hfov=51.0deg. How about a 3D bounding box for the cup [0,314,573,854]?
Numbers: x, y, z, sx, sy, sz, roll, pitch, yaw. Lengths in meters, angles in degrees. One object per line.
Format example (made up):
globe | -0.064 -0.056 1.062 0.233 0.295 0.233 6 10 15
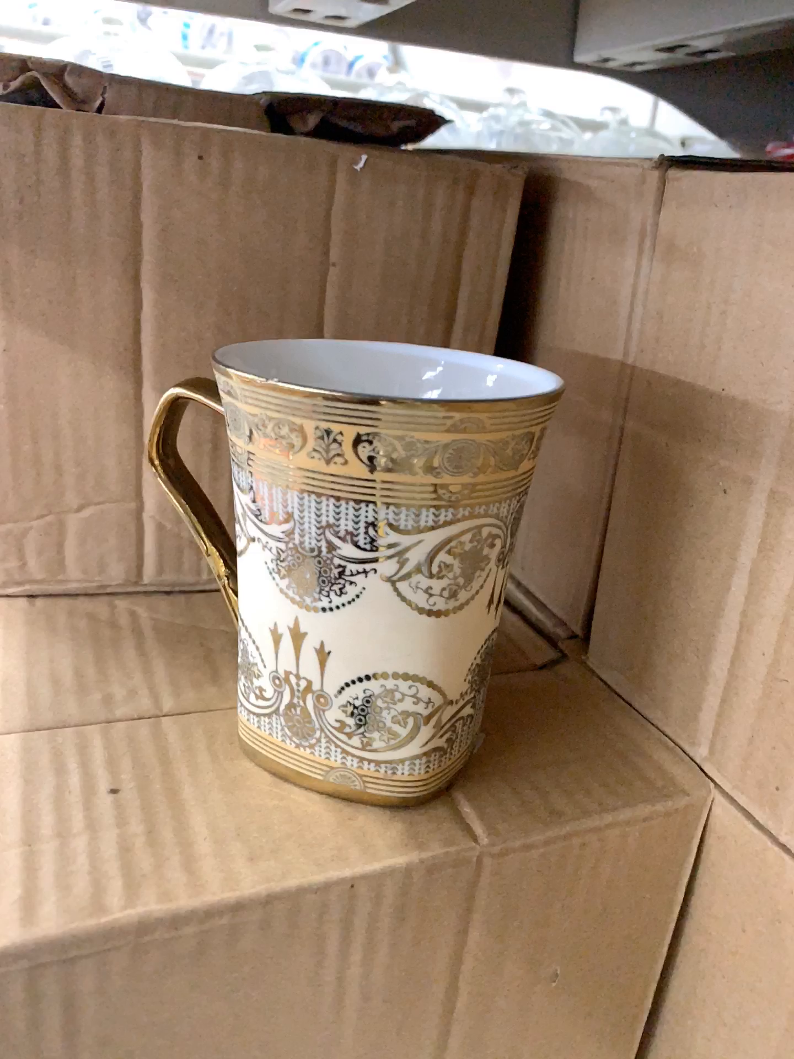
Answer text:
cup | -0.025 0.001 0.209 0.110 0.089 0.080 12 22 20
